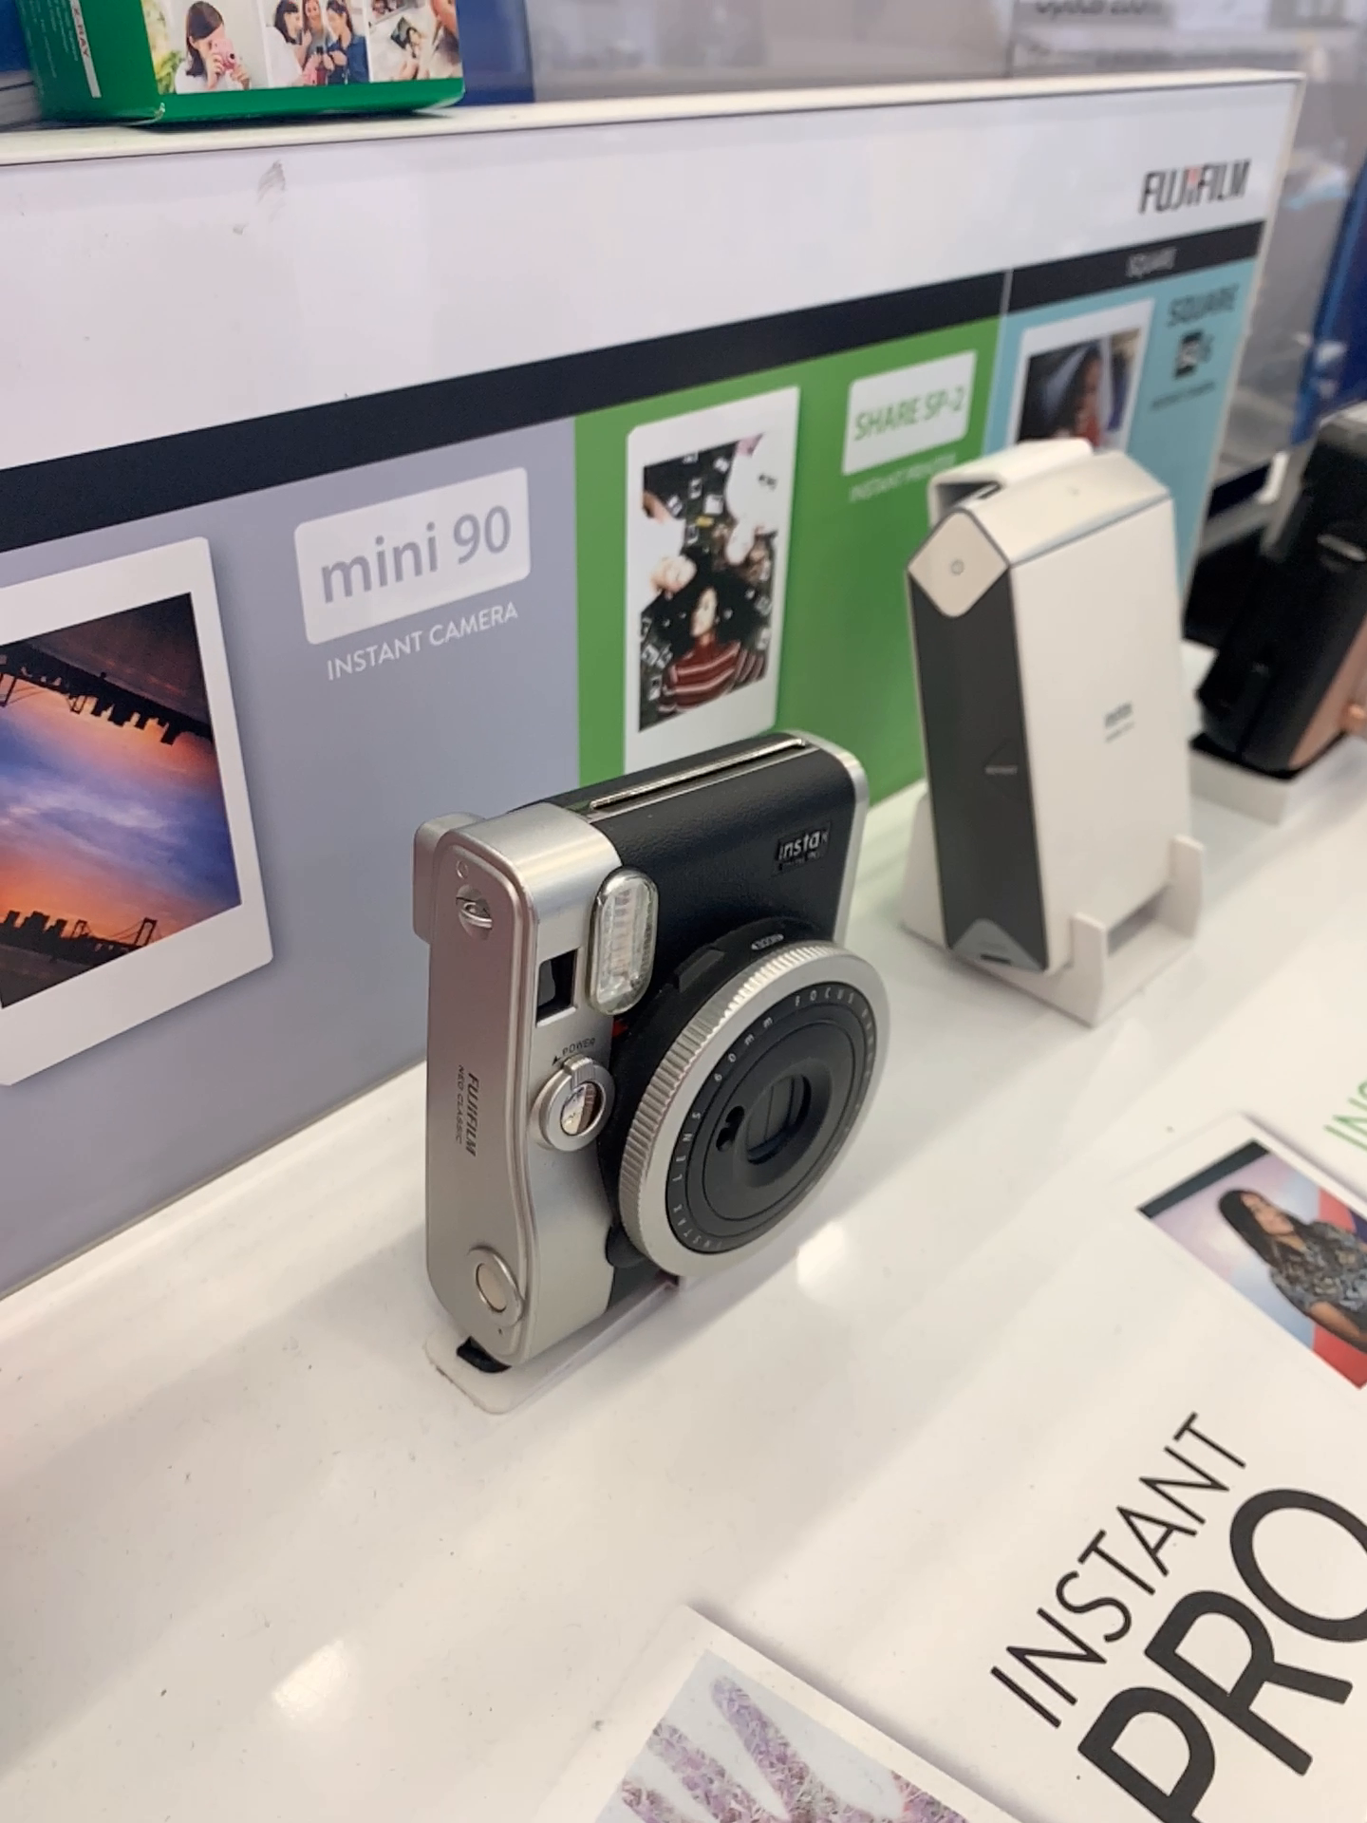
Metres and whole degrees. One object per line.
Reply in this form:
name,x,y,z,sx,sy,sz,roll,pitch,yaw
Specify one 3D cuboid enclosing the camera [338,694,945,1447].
camera,-0.009,0.026,0.281,0.100,0.109,0.050,-21,40,-38
